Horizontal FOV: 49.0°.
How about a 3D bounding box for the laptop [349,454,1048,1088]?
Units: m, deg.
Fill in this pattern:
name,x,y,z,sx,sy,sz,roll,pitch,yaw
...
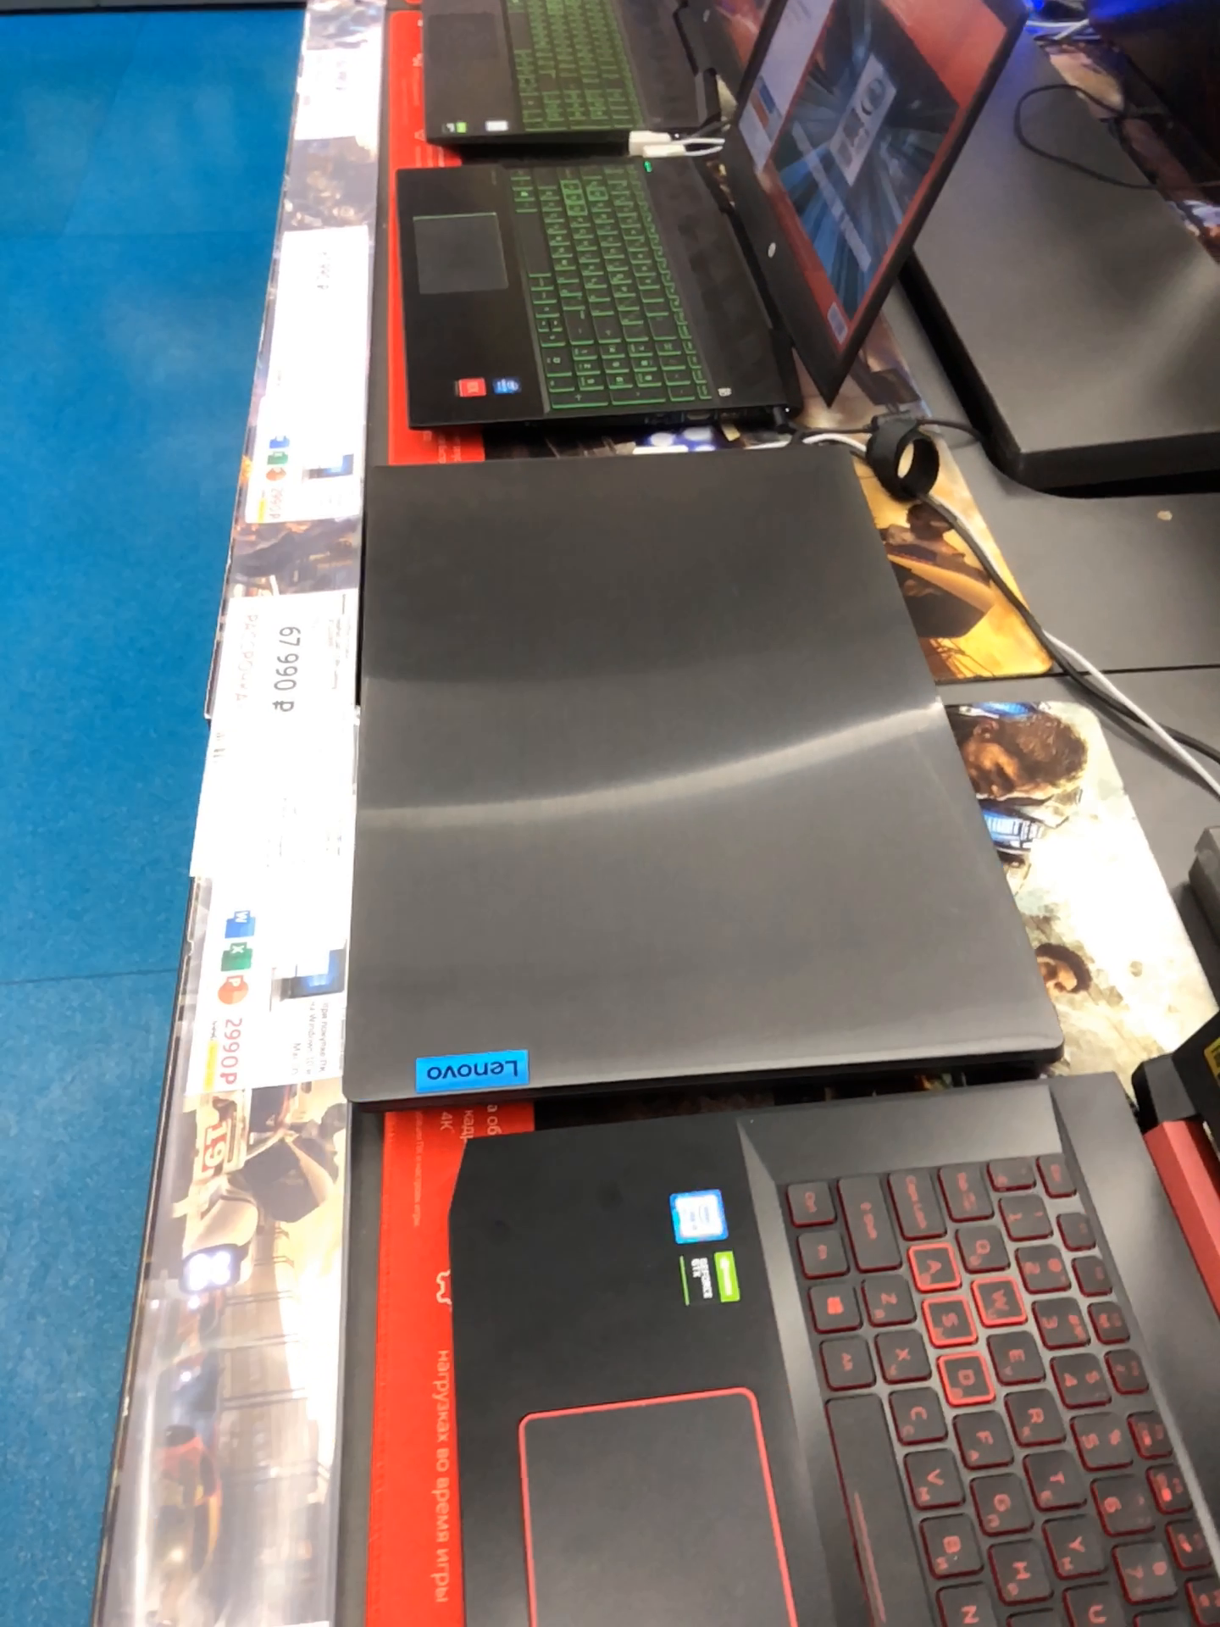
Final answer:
name,x,y,z,sx,sy,sz,roll,pitch,yaw
laptop,0.023,-0.052,0.638,0.268,0.002,0.391,-3,49,-3
